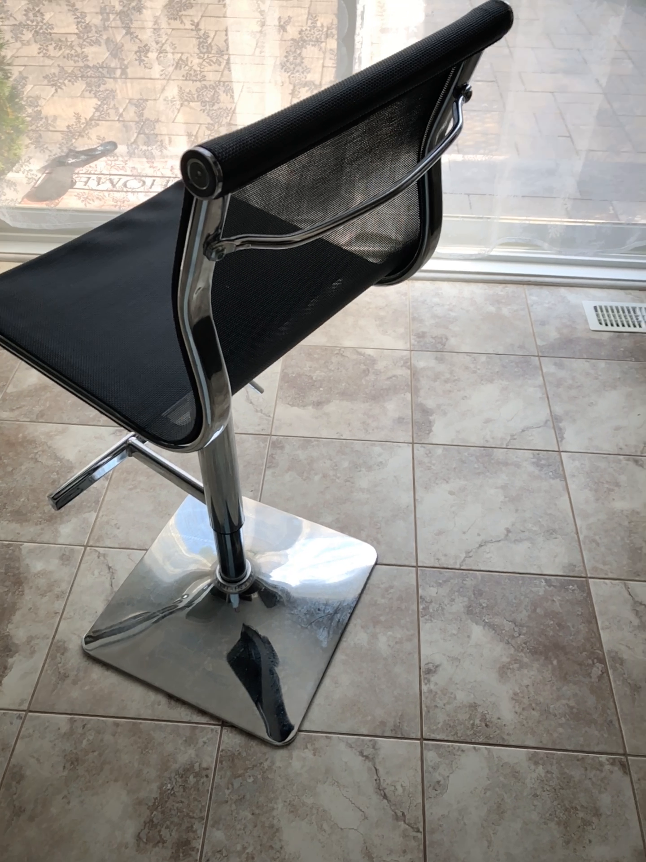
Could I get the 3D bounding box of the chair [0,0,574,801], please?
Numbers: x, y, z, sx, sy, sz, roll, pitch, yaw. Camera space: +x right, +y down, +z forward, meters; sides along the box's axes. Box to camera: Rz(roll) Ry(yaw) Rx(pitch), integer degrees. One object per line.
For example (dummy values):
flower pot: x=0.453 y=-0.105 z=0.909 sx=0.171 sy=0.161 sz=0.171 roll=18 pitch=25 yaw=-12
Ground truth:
chair: x=-0.164 y=-0.064 z=0.973 sx=0.551 sy=0.977 sz=0.541 roll=31 pitch=53 yaw=25
